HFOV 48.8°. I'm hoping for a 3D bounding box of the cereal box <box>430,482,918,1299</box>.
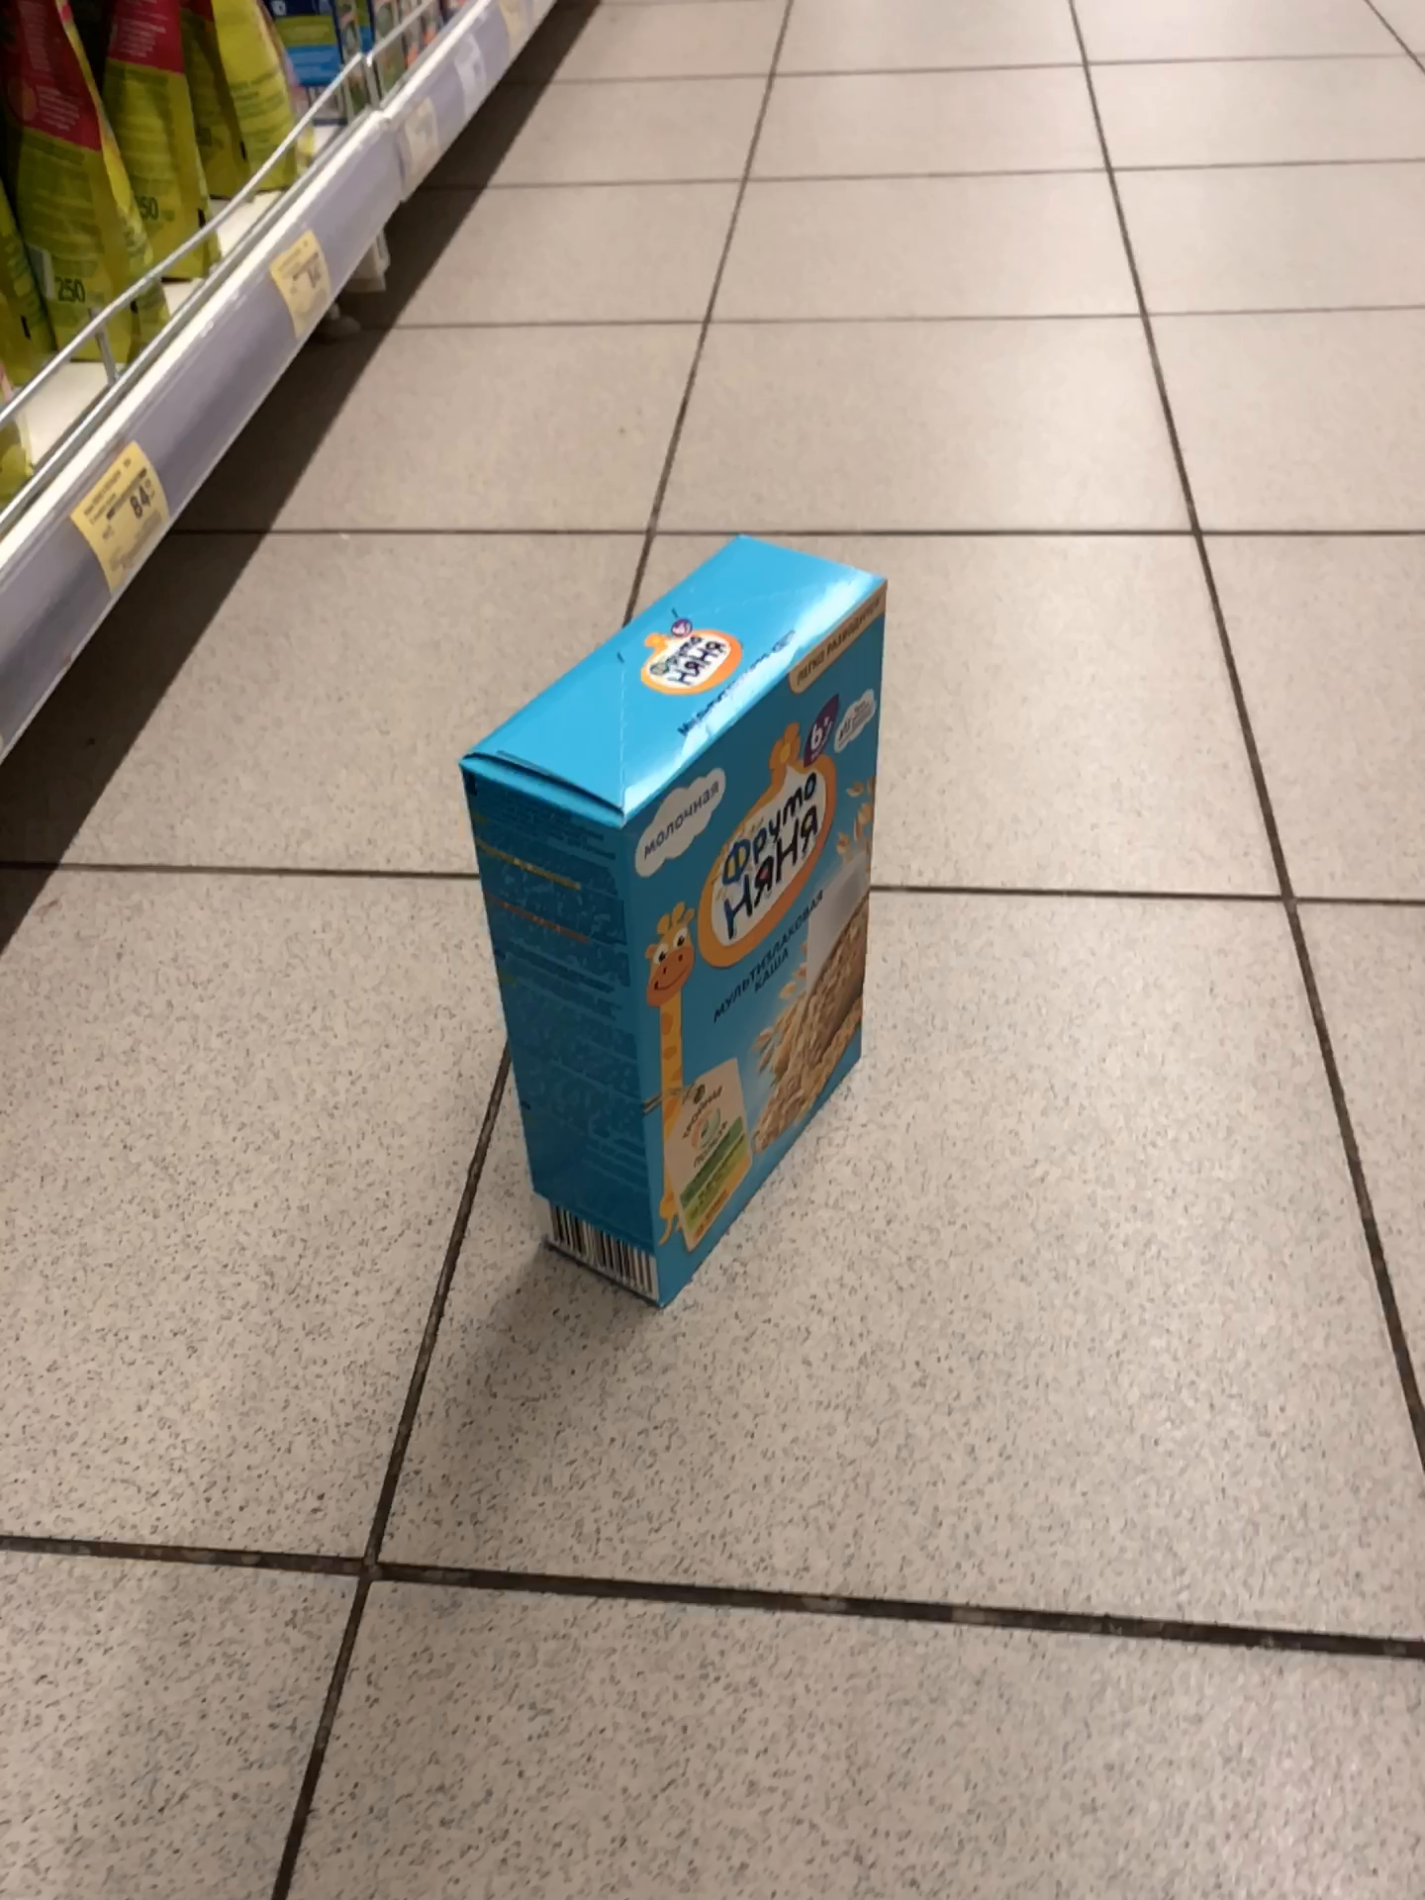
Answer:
[{"bbox_3d":[-0.003,-0.014,0.480,0.060,0.199,0.141,23,49,24],"label":"cereal box"}]
